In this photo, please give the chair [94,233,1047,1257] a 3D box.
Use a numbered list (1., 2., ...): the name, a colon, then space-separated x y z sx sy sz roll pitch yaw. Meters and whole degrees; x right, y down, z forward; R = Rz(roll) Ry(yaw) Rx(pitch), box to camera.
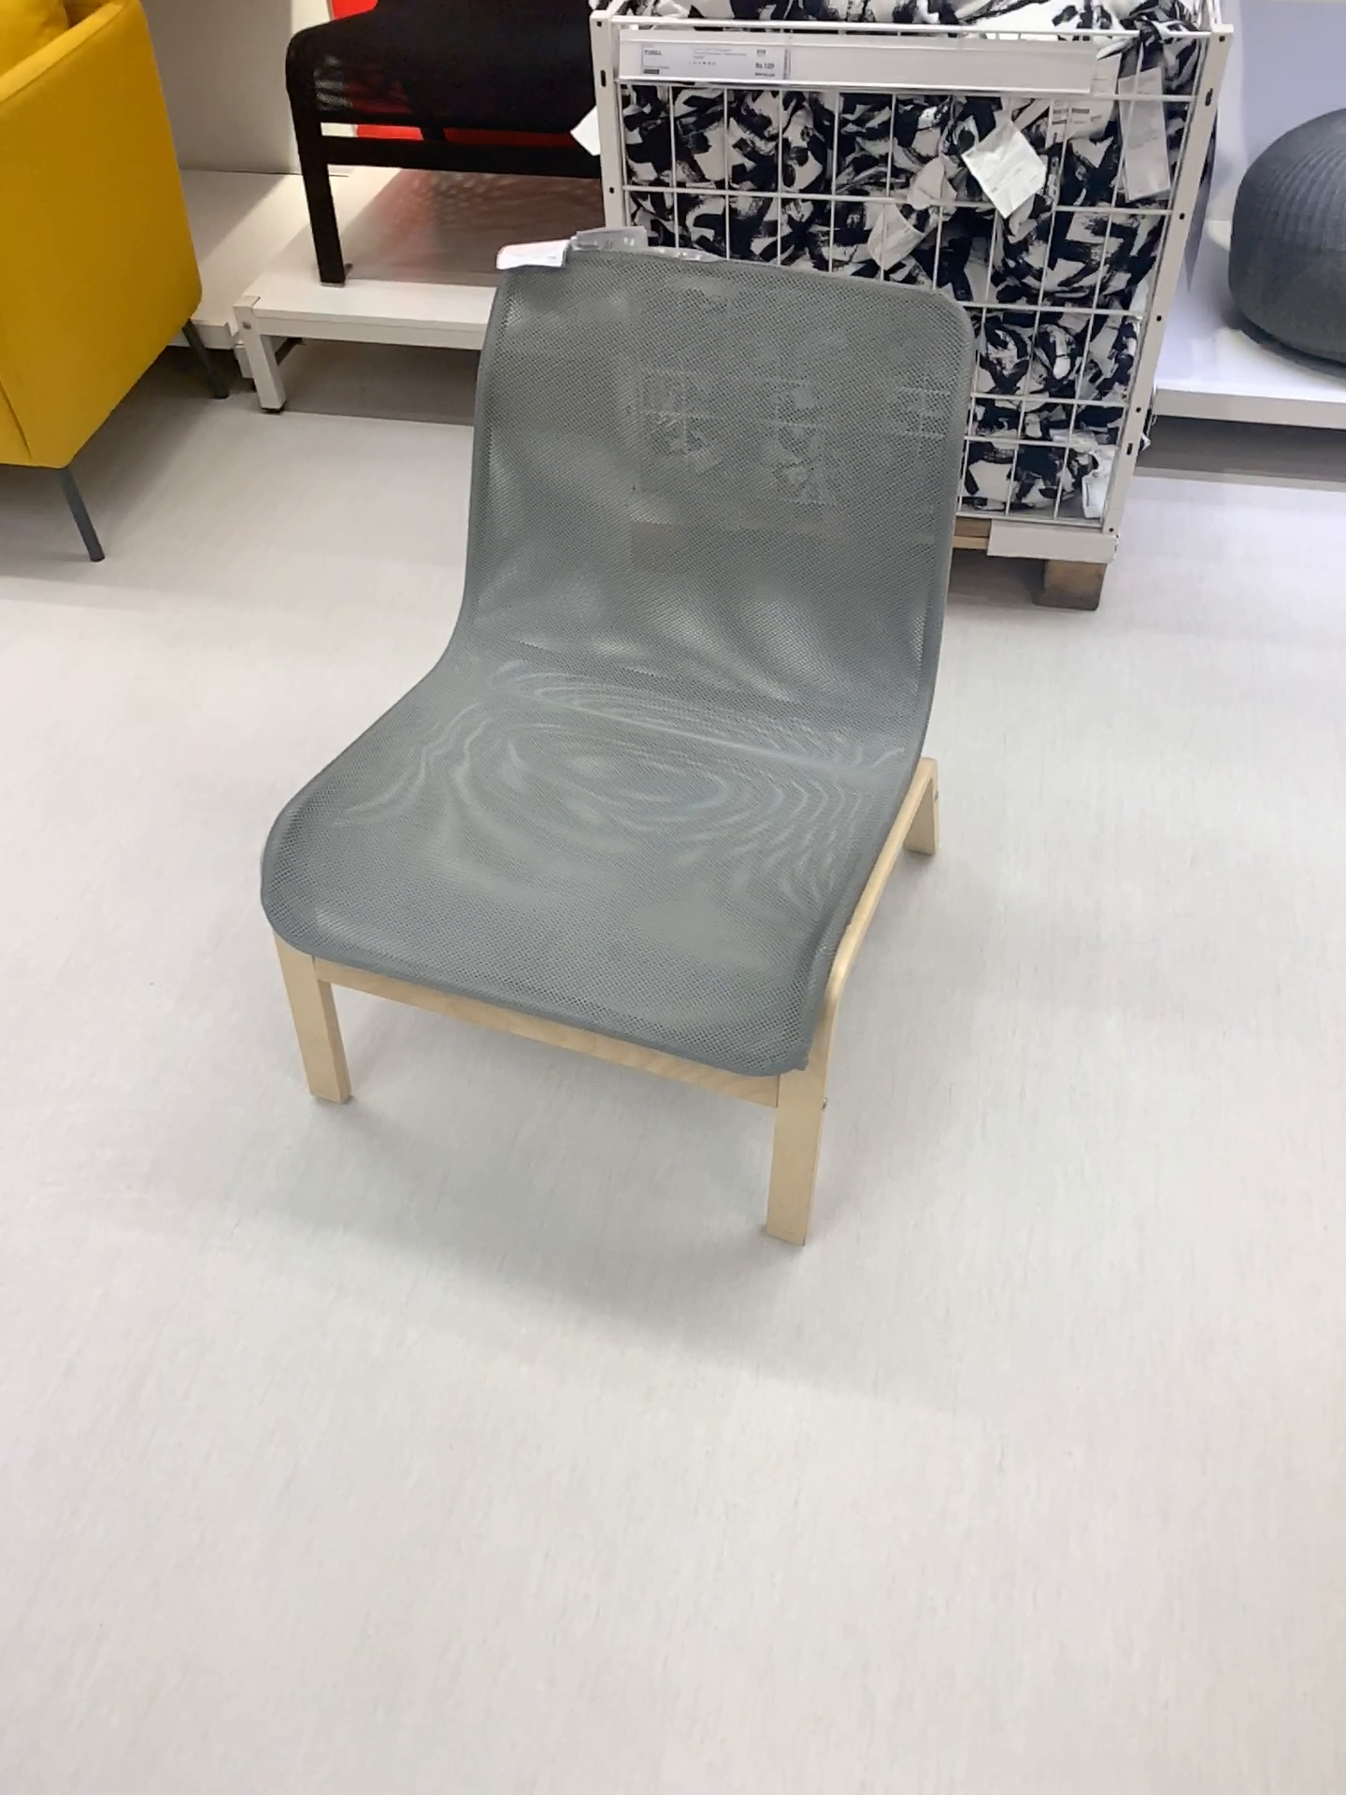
1. chair: -0.027 -0.189 1.515 0.630 0.697 0.752 14 50 15
